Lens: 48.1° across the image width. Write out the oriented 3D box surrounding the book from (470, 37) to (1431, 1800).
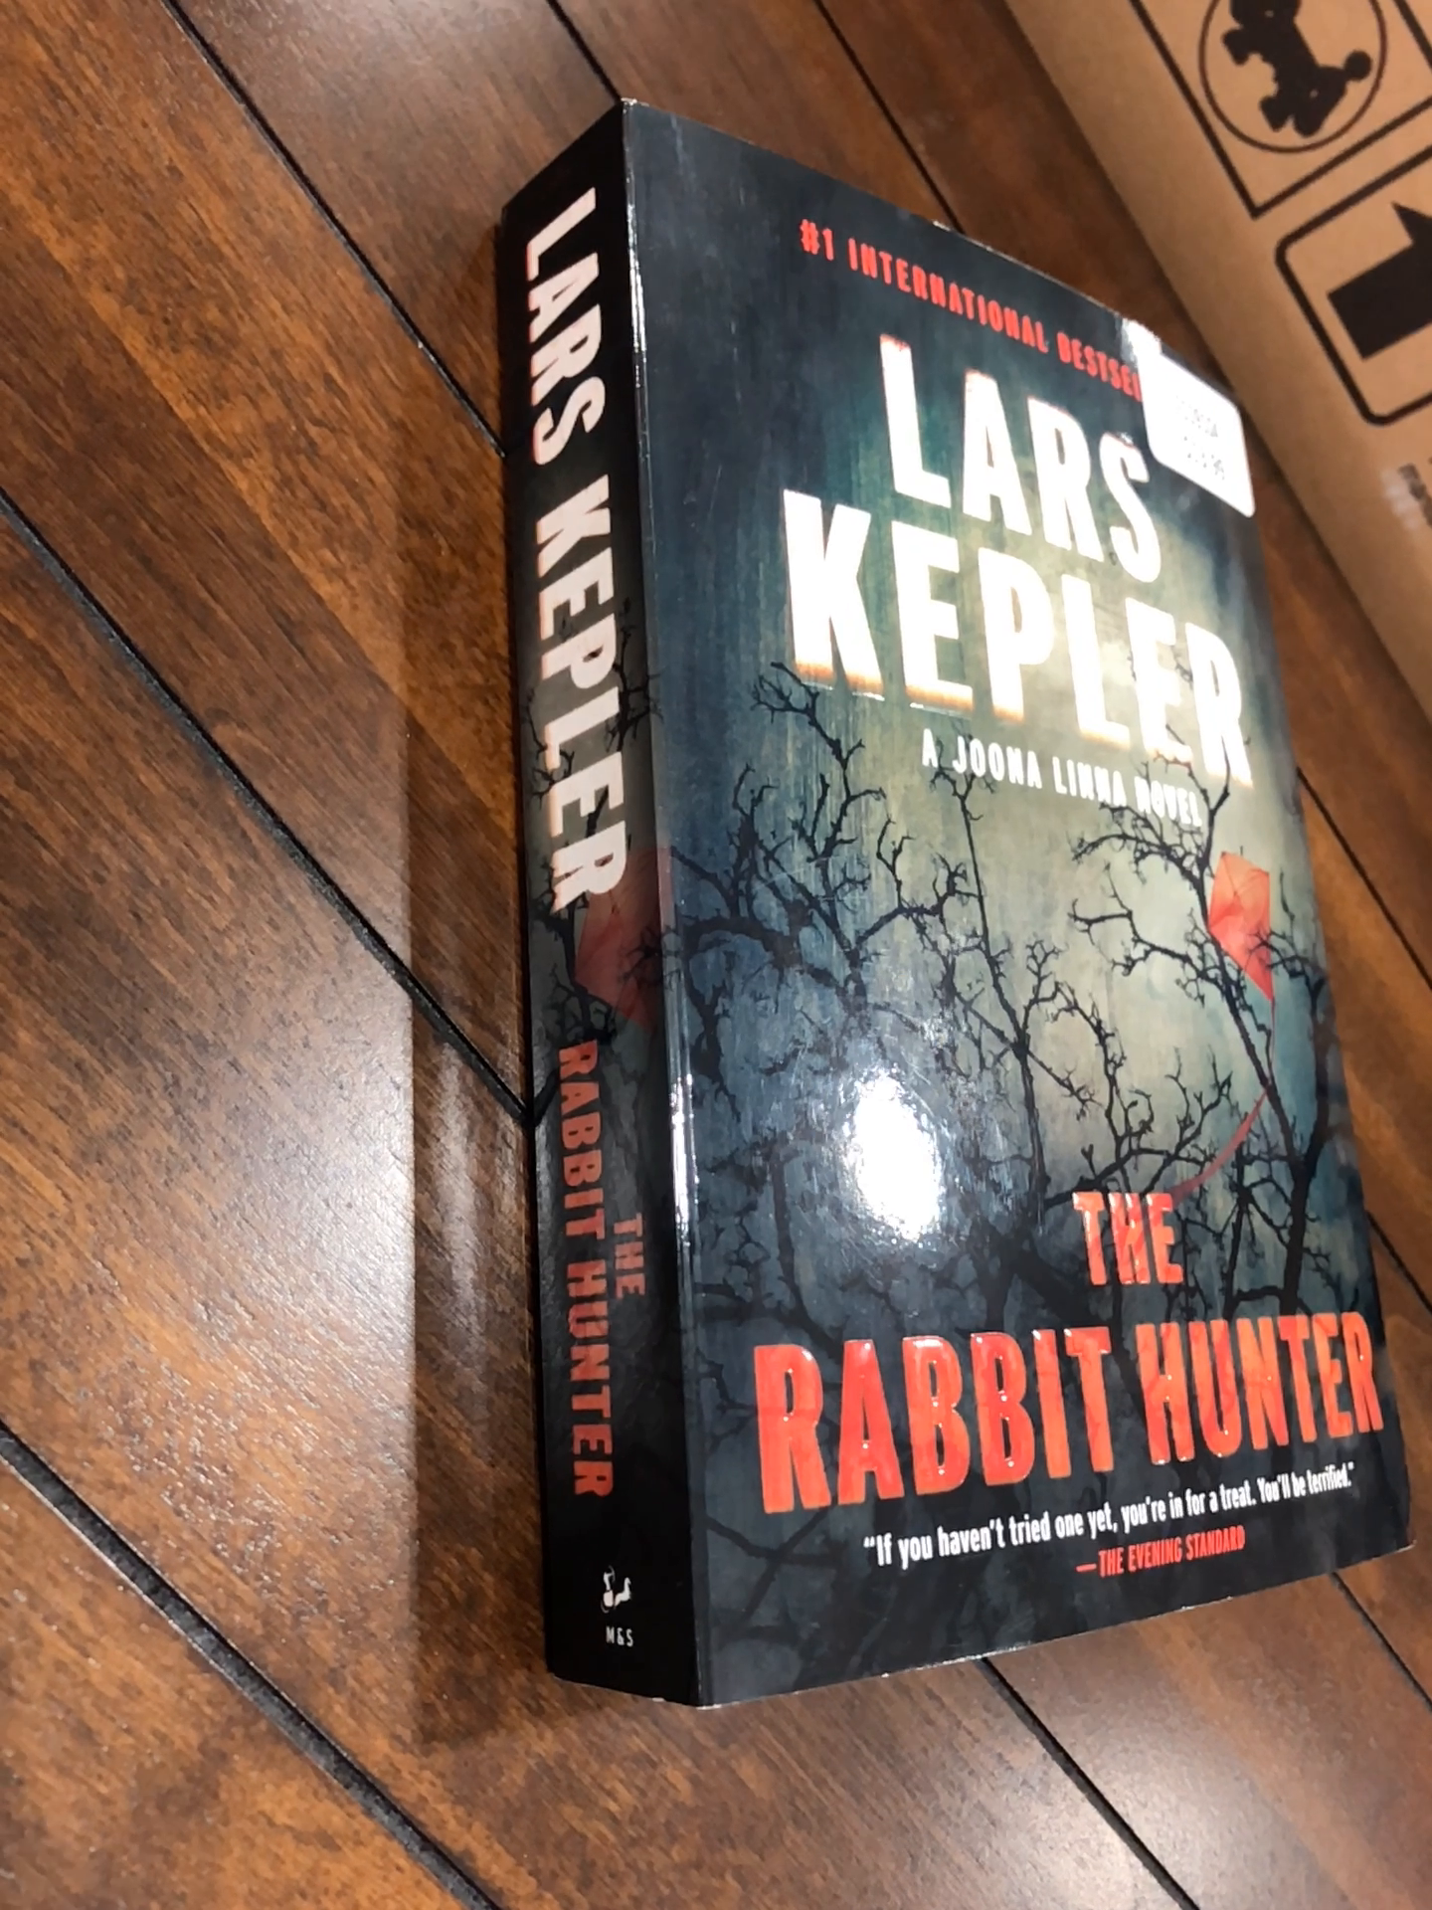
[{"bbox_3d":[0.045,-0.006,0.261,0.160,0.046,0.222,7,72,-38],"label":"book"}]
